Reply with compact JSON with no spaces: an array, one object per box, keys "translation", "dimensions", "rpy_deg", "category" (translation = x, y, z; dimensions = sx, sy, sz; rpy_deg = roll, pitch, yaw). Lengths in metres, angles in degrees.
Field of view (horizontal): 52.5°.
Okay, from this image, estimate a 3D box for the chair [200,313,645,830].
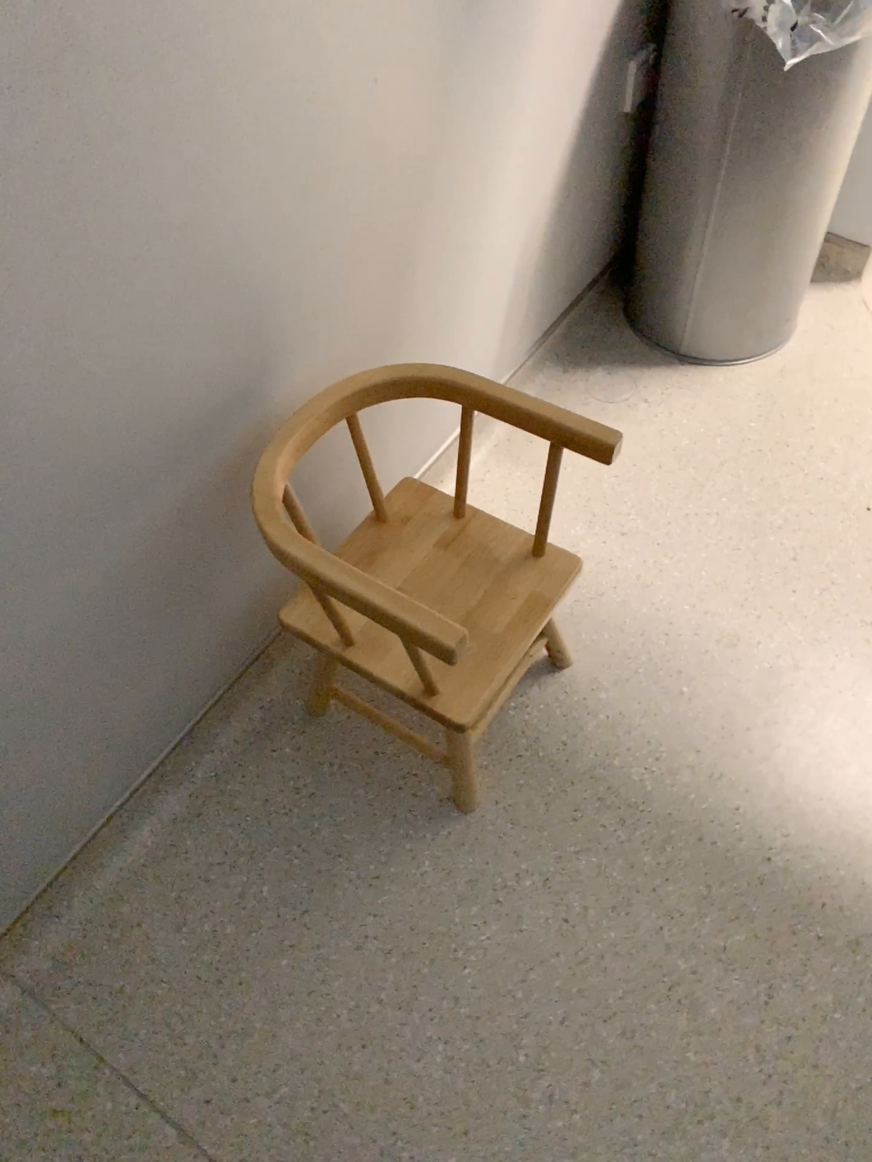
[{"translation":[0.004,0.001,1.169],"dimensions":[0.343,0.482,0.363],"rpy_deg":[30,62,24],"category":"chair"}]
